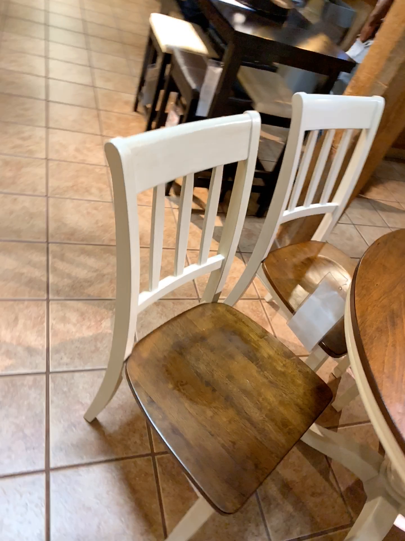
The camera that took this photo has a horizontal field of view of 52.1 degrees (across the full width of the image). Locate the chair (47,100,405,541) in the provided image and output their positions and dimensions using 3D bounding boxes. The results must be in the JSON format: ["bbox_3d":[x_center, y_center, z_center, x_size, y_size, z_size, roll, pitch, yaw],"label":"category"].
[{"bbox_3d":[0.035,0.190,1.007,0.492,0.891,0.633,-26,62,-40],"label":"chair"}]

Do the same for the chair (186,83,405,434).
[{"bbox_3d":[0.429,-0.026,1.398,0.491,0.901,0.633,-16,56,-35],"label":"chair"}]
